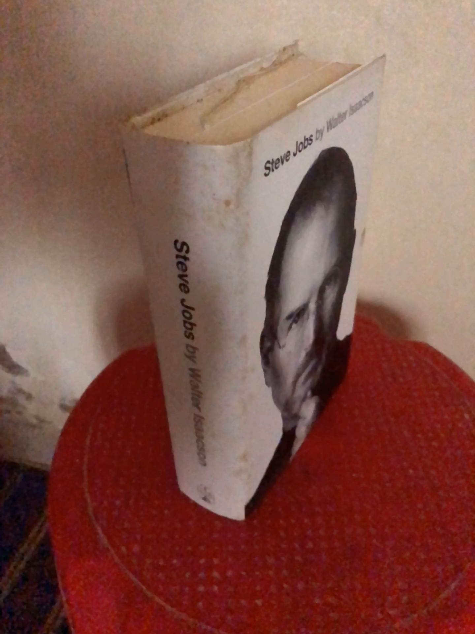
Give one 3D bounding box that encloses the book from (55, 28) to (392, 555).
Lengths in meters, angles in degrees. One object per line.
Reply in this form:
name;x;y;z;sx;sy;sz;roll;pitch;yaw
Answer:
book;0.012;-0.015;0.294;0.060;0.229;0.171;19;42;26
